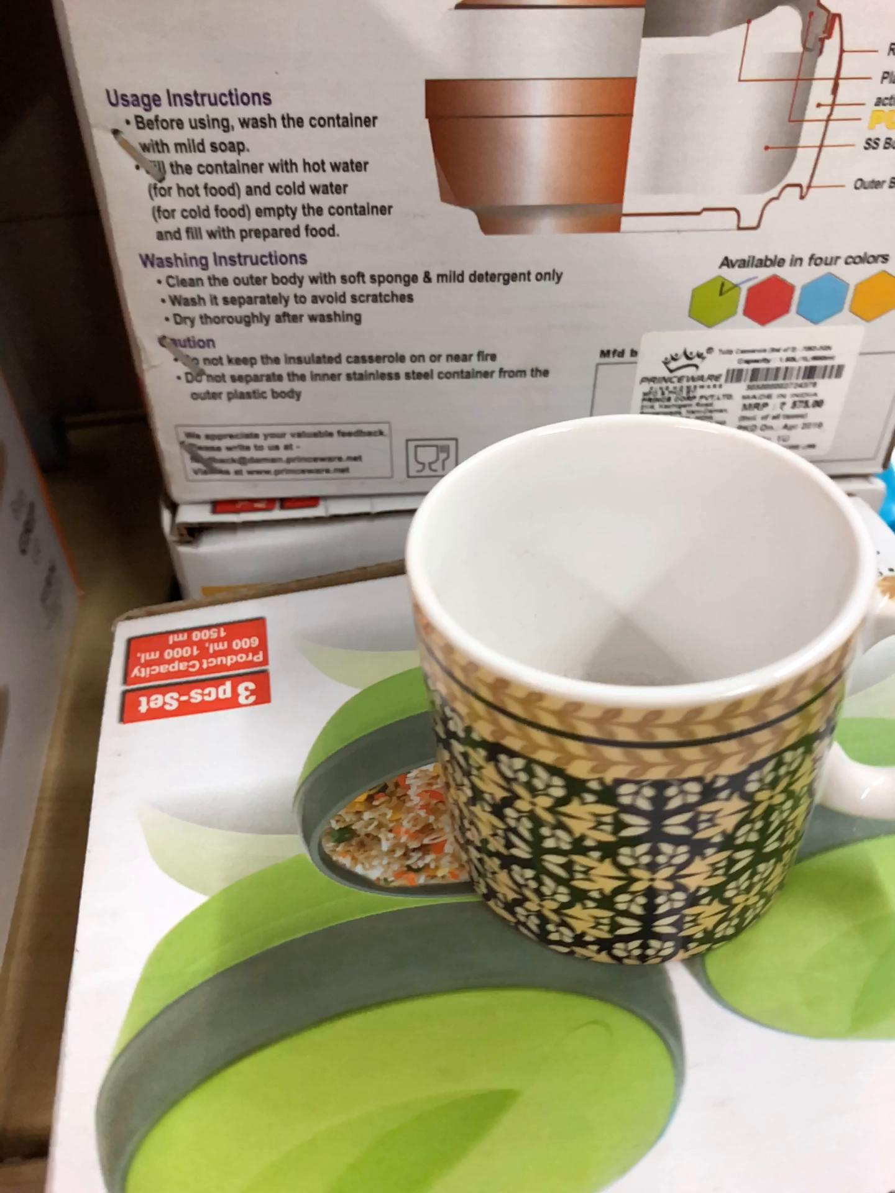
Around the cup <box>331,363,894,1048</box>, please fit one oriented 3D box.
[{"bbox_3d":[0.049,0.016,0.178,0.110,0.089,0.071,3,40,11],"label":"cup"}]
